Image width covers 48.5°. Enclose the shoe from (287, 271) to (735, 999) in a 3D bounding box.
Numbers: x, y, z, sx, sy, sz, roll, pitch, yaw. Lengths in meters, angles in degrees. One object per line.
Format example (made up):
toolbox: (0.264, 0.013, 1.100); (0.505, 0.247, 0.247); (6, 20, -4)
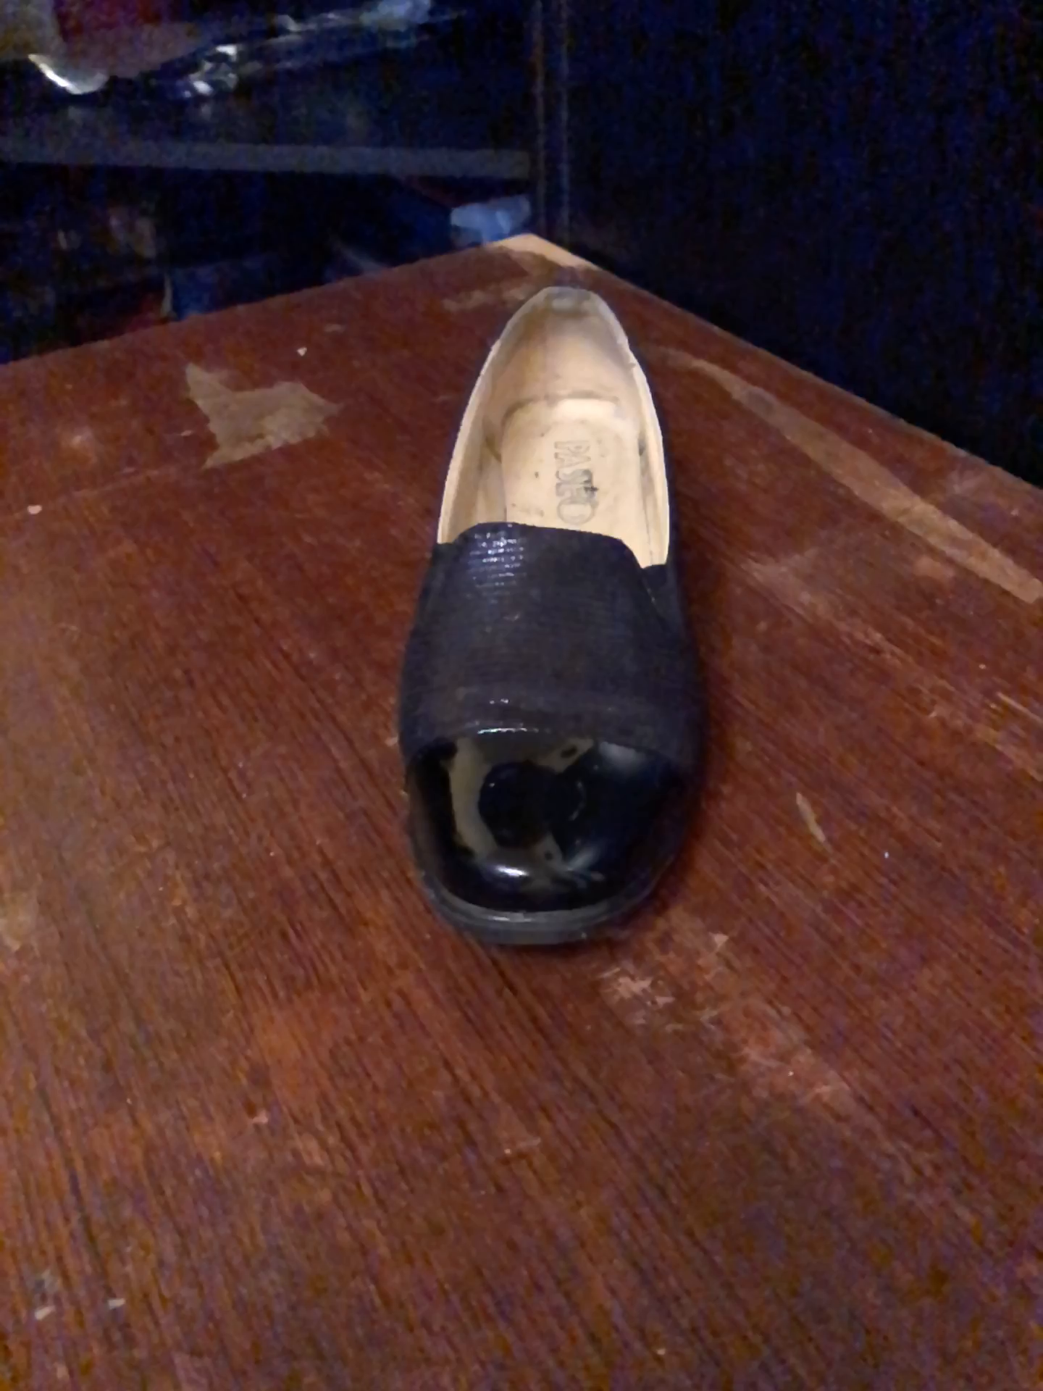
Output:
shoe: (0.014, -0.038, 0.339); (0.090, 0.070, 0.238); (3, 44, 7)
